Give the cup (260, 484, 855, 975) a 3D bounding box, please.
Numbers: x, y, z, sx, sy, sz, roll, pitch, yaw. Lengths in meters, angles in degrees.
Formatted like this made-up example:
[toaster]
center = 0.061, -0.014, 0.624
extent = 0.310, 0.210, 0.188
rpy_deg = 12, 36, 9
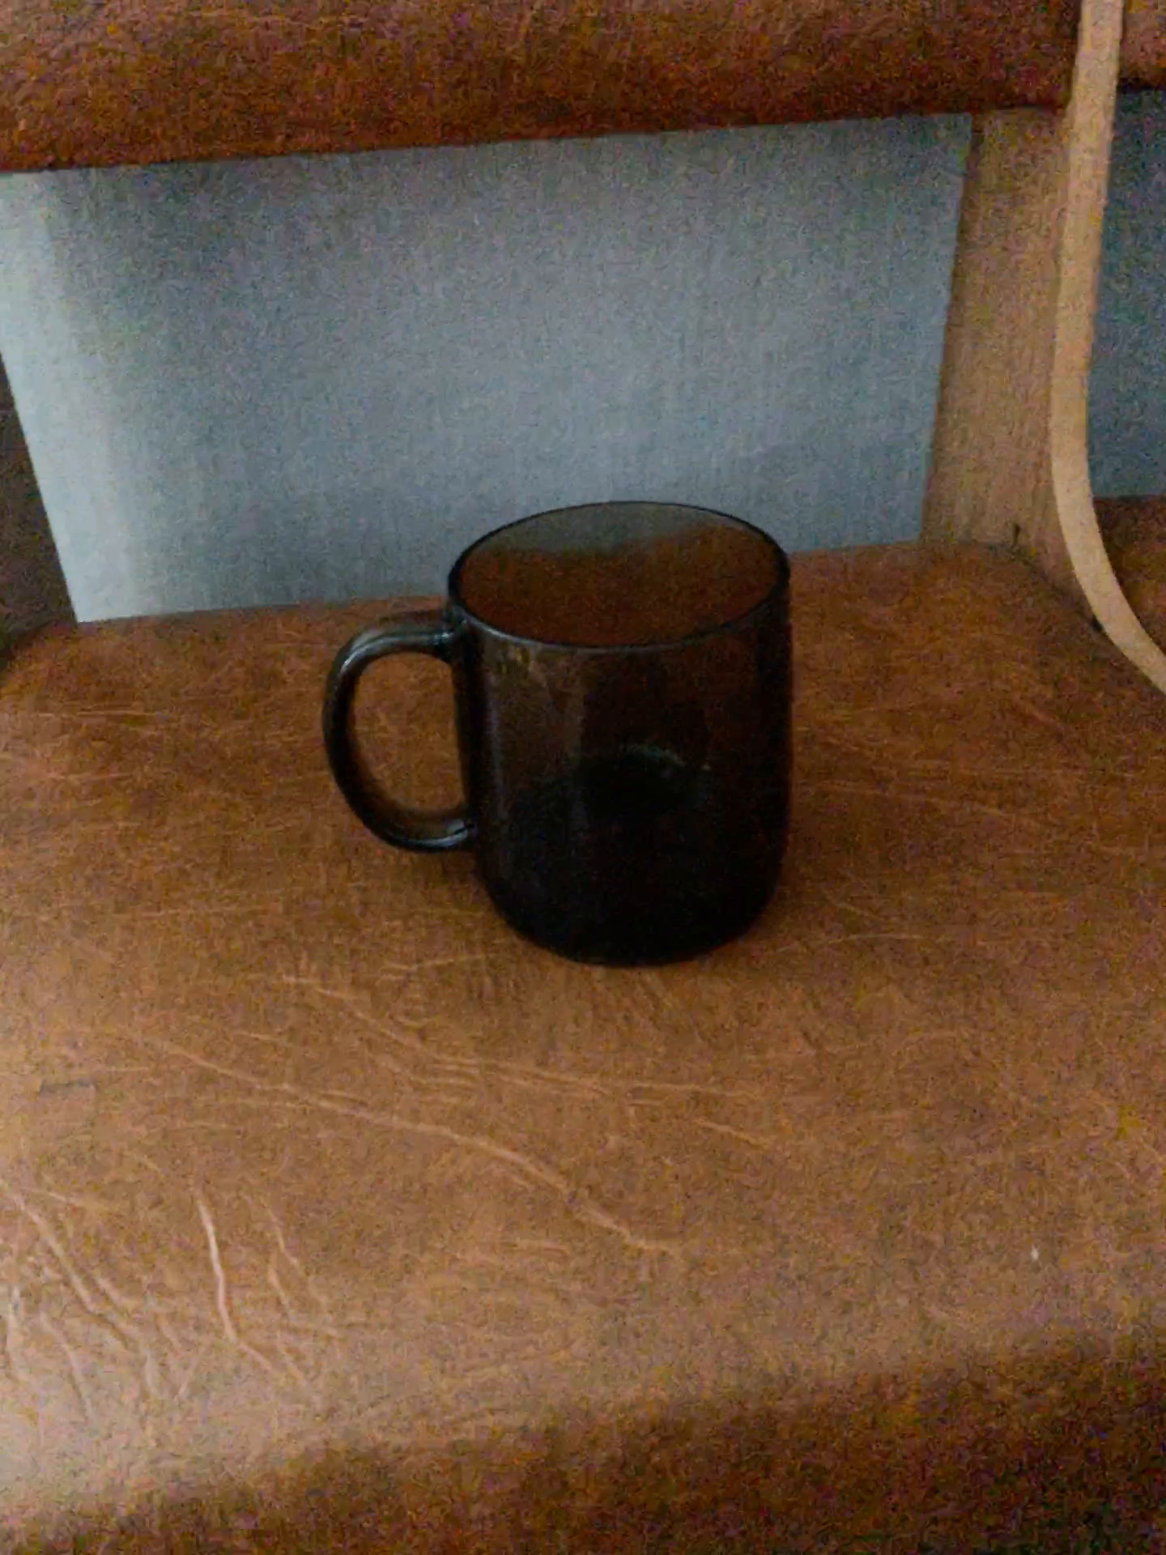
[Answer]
[cup]
center = -0.004, -0.014, 0.299
extent = 0.120, 0.089, 0.081
rpy_deg = -2, 33, 1
